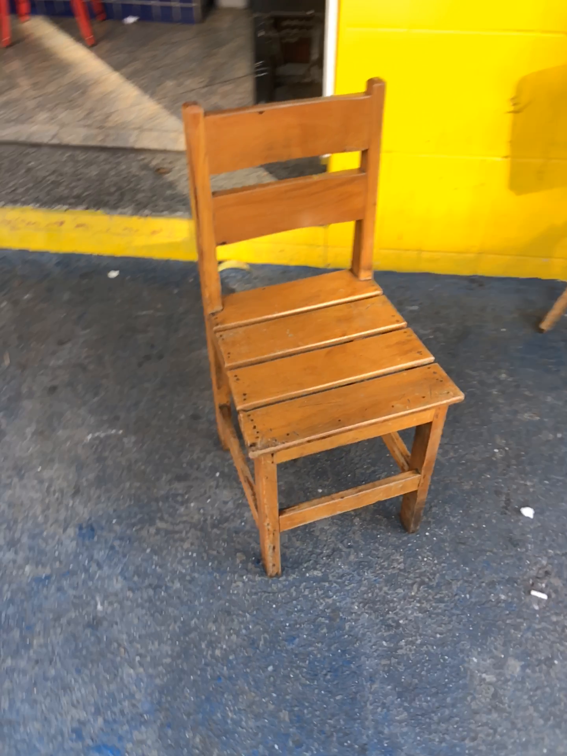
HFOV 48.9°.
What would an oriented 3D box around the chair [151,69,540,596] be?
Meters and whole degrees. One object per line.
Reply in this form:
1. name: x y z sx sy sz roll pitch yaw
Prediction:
1. chair: 0.052 -0.048 1.150 0.400 0.804 0.443 -13 46 -14
